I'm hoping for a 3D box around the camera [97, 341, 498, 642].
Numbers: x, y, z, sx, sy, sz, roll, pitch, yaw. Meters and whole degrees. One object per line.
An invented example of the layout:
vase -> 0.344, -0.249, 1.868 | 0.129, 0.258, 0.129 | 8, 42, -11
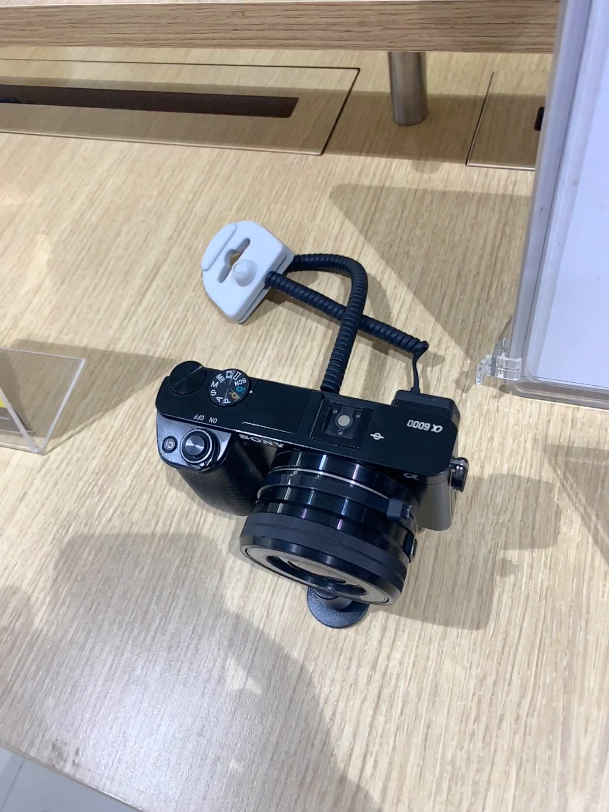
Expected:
camera -> 0.004, 0.036, 0.261 | 0.130, 0.090, 0.070 | 10, 64, 18
